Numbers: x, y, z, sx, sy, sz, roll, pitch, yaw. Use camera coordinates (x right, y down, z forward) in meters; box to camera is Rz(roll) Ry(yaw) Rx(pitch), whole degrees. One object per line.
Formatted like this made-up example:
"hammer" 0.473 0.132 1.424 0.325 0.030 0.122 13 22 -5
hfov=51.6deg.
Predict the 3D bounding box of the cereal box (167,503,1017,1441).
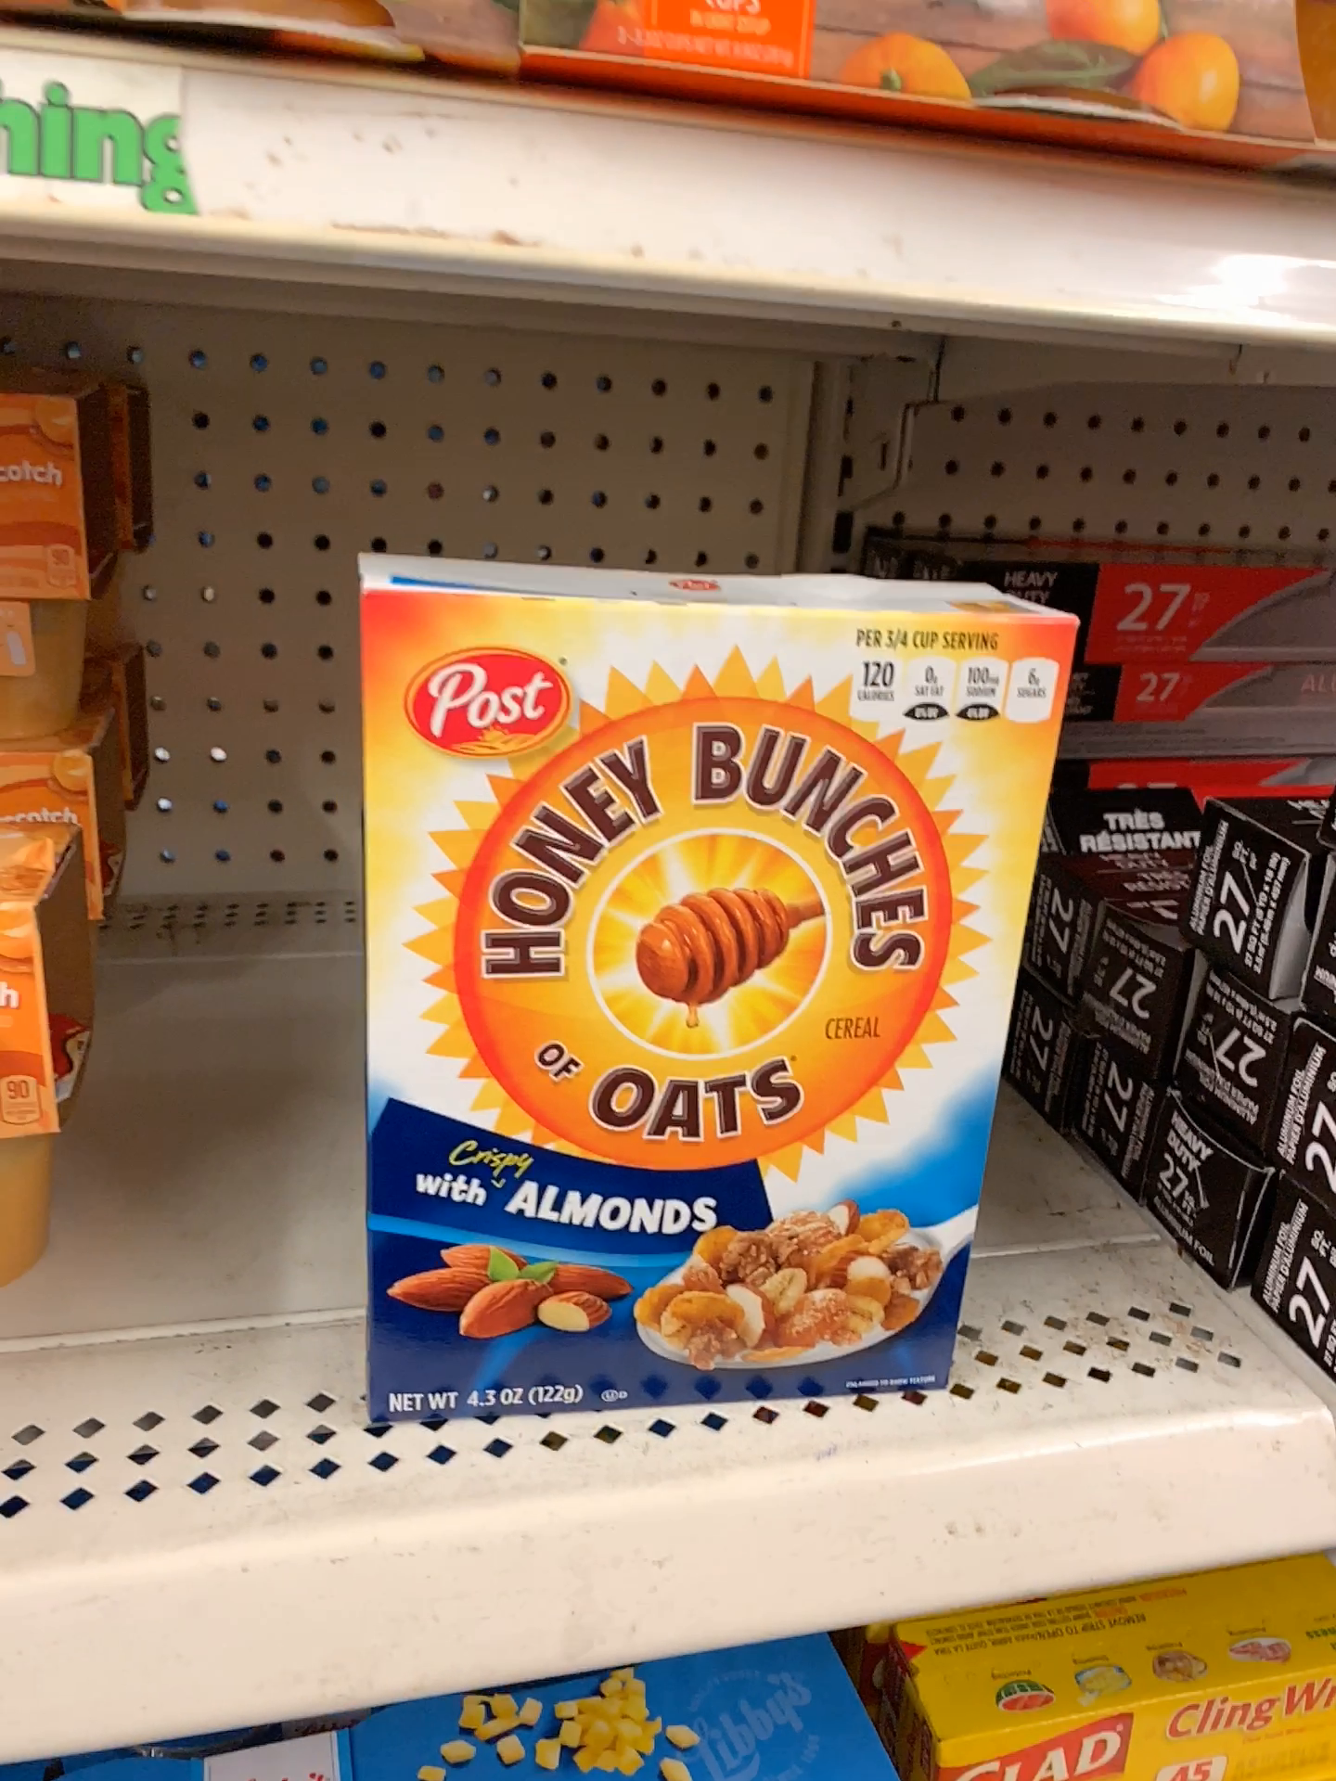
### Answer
"cereal box" -0.019 0.020 0.298 0.150 0.189 0.050 0 20 -9
